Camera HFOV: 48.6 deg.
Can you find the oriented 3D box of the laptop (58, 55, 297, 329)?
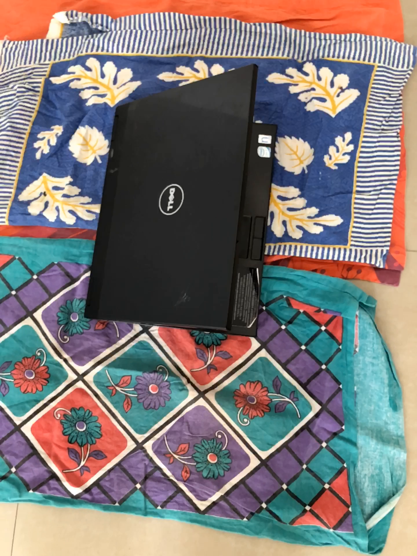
[{"bbox_3d":[-0.028,-0.098,0.585,0.234,0.144,0.299,5,81,5],"label":"laptop"}]
